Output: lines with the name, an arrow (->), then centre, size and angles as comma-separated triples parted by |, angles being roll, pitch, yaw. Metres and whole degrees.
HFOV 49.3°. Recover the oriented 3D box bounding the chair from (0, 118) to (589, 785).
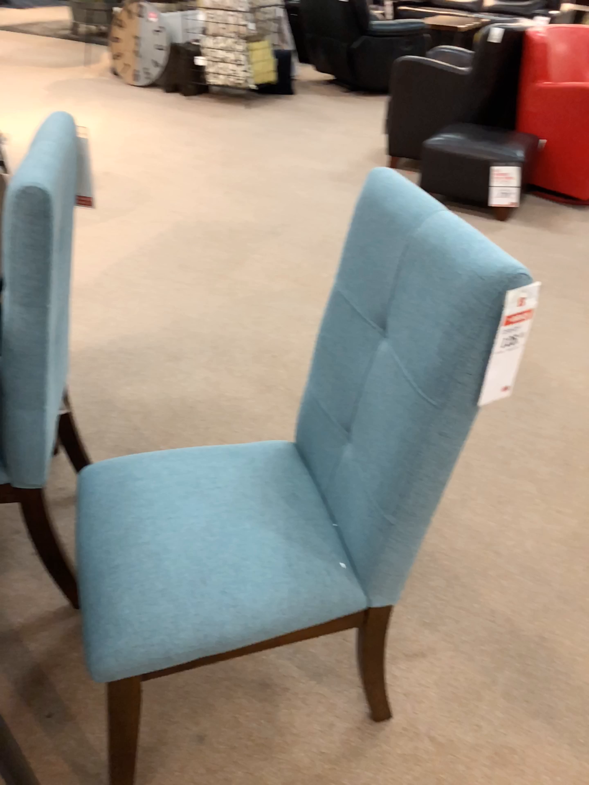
chair -> -0.109, 0.160, 1.029 | 0.620, 0.993, 0.544 | -6, 36, -17
